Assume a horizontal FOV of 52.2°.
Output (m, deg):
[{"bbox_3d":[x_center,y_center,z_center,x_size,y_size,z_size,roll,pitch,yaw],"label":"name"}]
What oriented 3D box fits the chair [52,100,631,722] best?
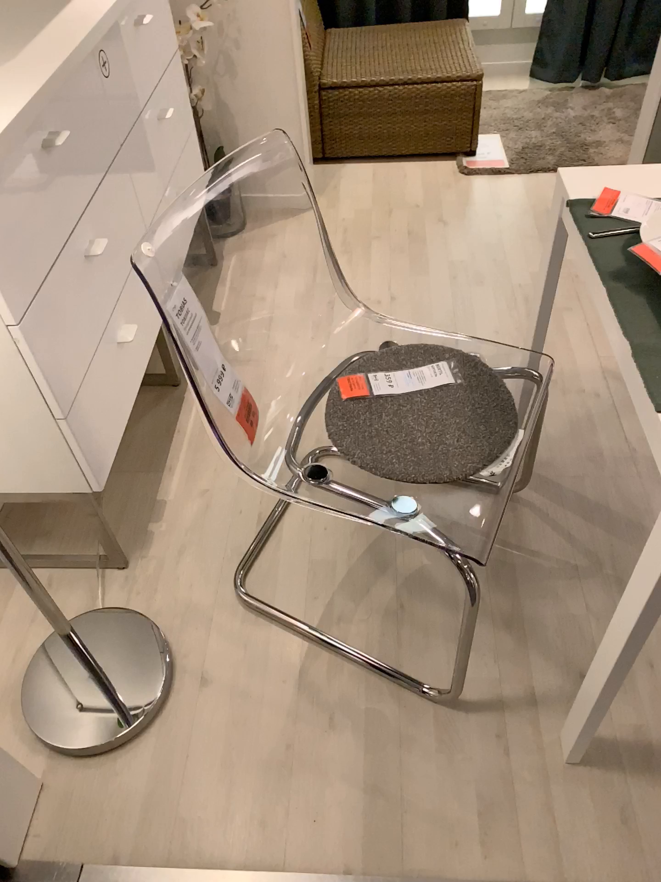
[{"bbox_3d":[0.074,-0.047,1.198,0.592,0.791,0.593,17,51,19],"label":"chair"}]
